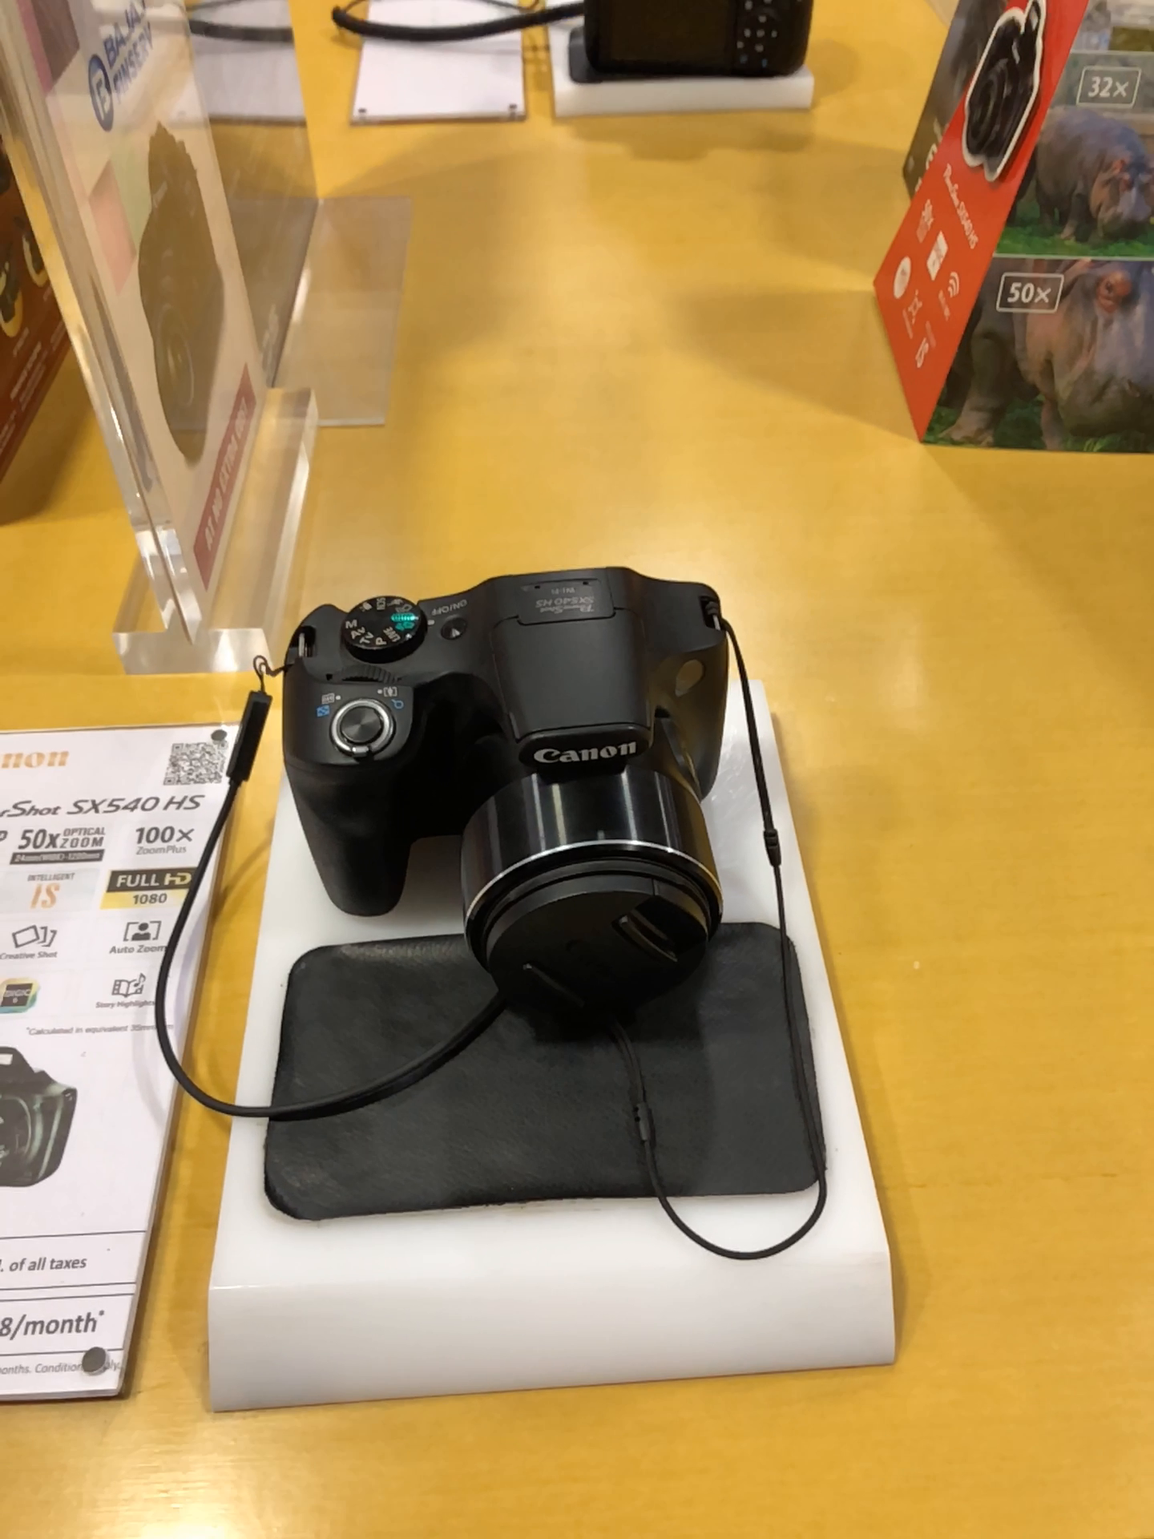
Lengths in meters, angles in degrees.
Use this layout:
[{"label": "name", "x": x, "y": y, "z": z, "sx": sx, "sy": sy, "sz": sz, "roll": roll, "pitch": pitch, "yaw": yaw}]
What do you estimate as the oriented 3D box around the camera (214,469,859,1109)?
[{"label": "camera", "x": -0.014, "y": 0.001, "z": 0.334, "sx": 0.130, "sy": 0.089, "sz": 0.131, "roll": -5, "pitch": 48, "yaw": -4}]
